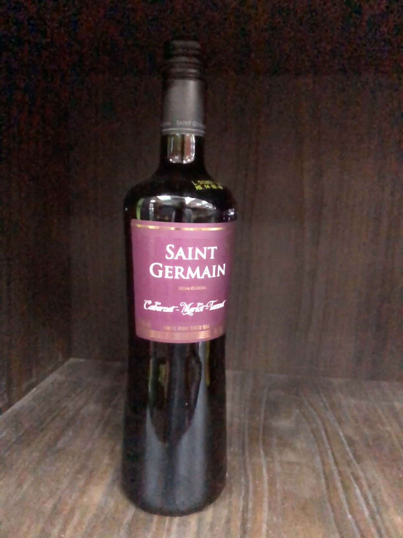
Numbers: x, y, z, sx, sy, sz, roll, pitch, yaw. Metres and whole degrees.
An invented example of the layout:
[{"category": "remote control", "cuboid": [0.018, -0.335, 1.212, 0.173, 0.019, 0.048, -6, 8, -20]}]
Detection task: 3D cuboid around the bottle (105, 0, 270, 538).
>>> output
[{"category": "bottle", "cuboid": [-0.016, 0.003, 0.296, 0.080, 0.309, 0.070, -1, 9, -23]}]
